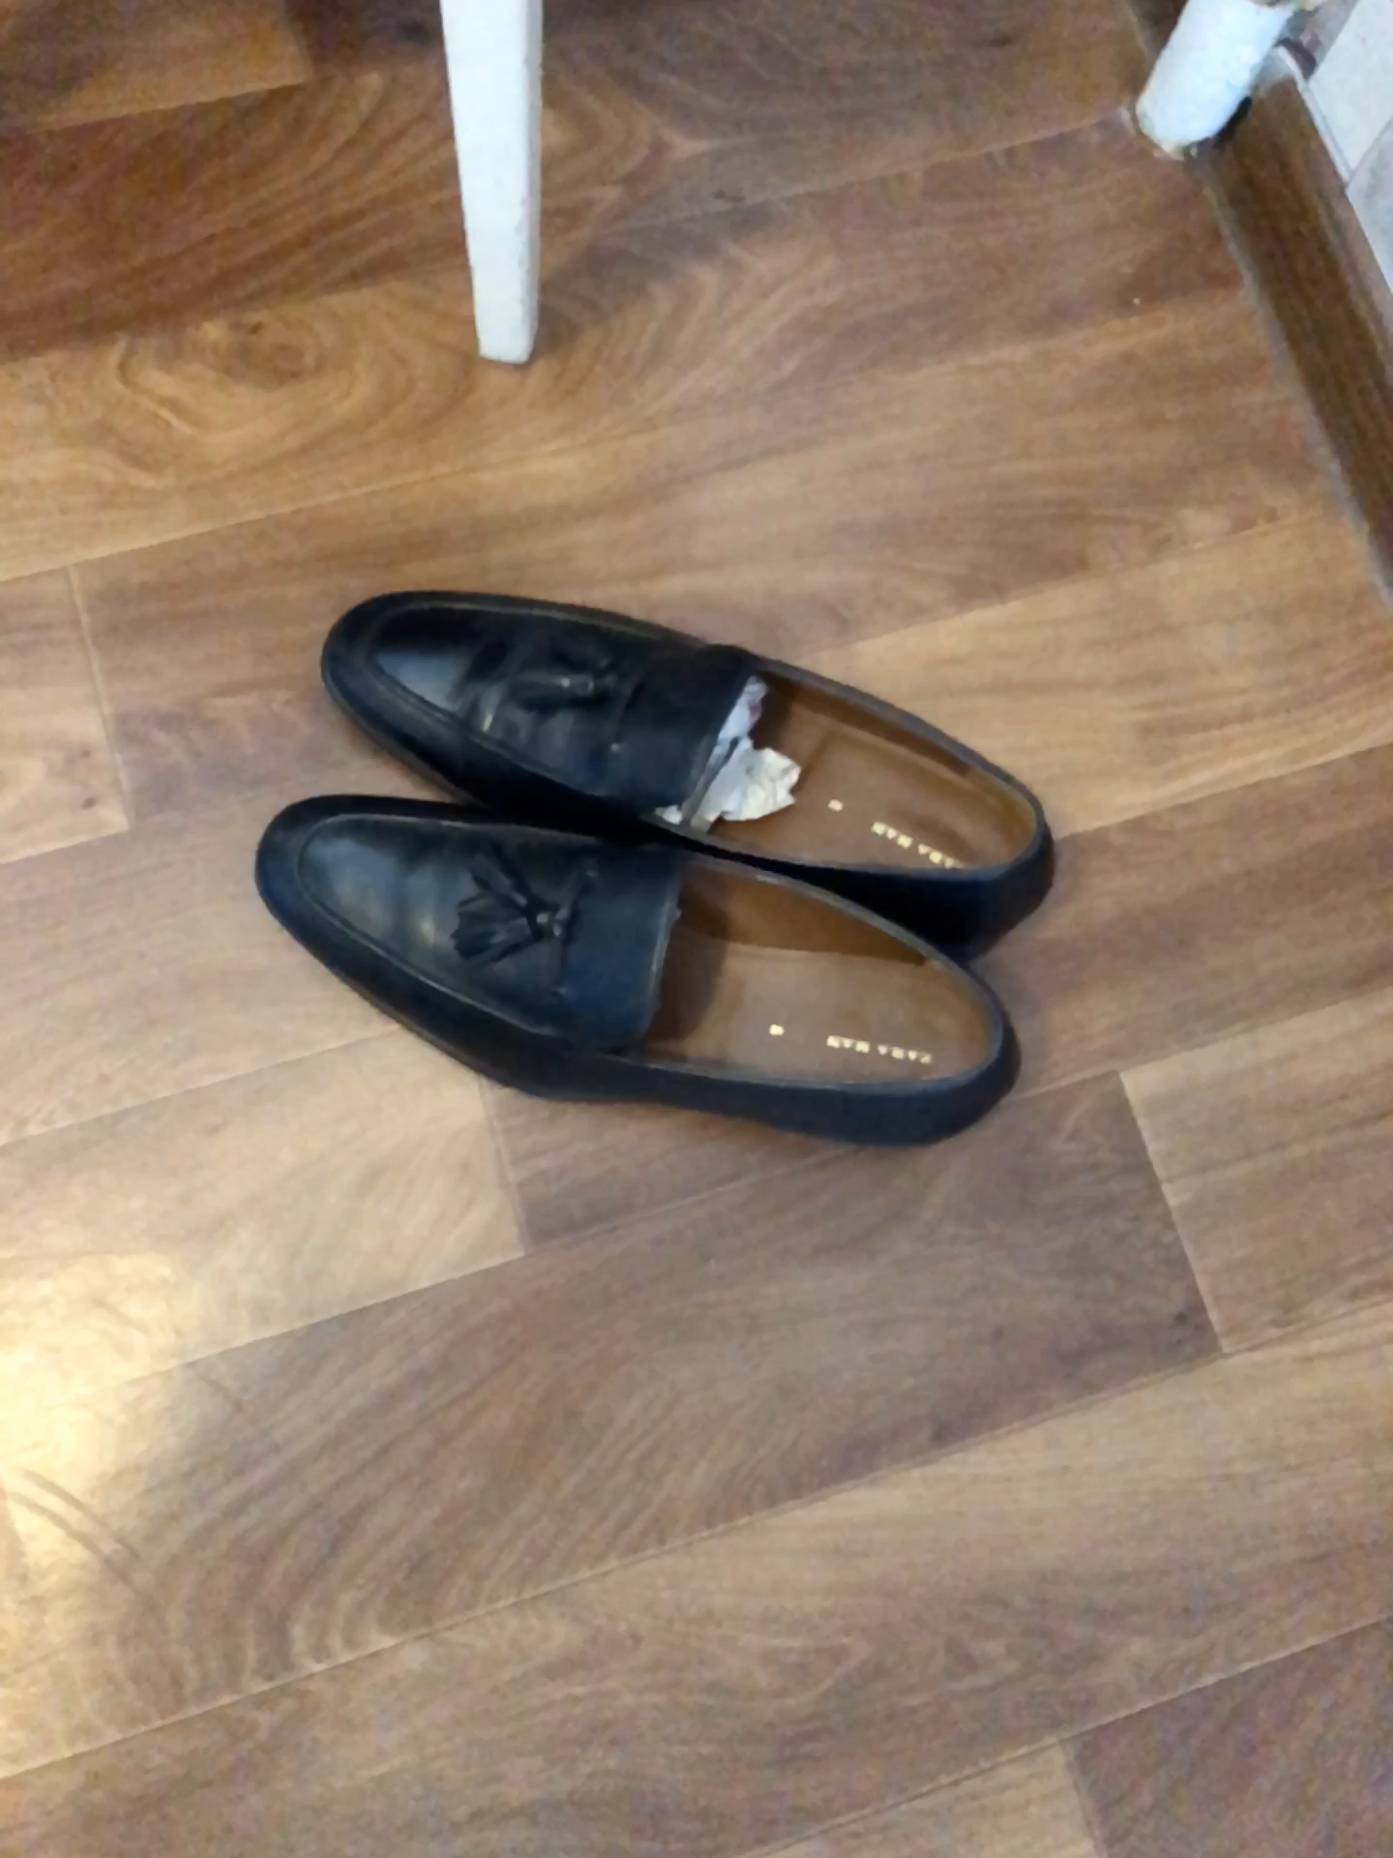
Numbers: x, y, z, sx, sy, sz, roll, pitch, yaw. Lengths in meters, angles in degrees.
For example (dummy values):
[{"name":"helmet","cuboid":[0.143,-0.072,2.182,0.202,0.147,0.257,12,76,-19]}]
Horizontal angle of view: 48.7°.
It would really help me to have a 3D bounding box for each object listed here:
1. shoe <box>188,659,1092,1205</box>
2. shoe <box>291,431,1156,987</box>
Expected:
[{"name":"shoe","cuboid":[-0.016,0.005,0.493,0.253,0.068,0.100,15,77,0]},{"name":"shoe","cuboid":[0.009,-0.069,0.513,0.253,0.068,0.100,16,77,0]}]
